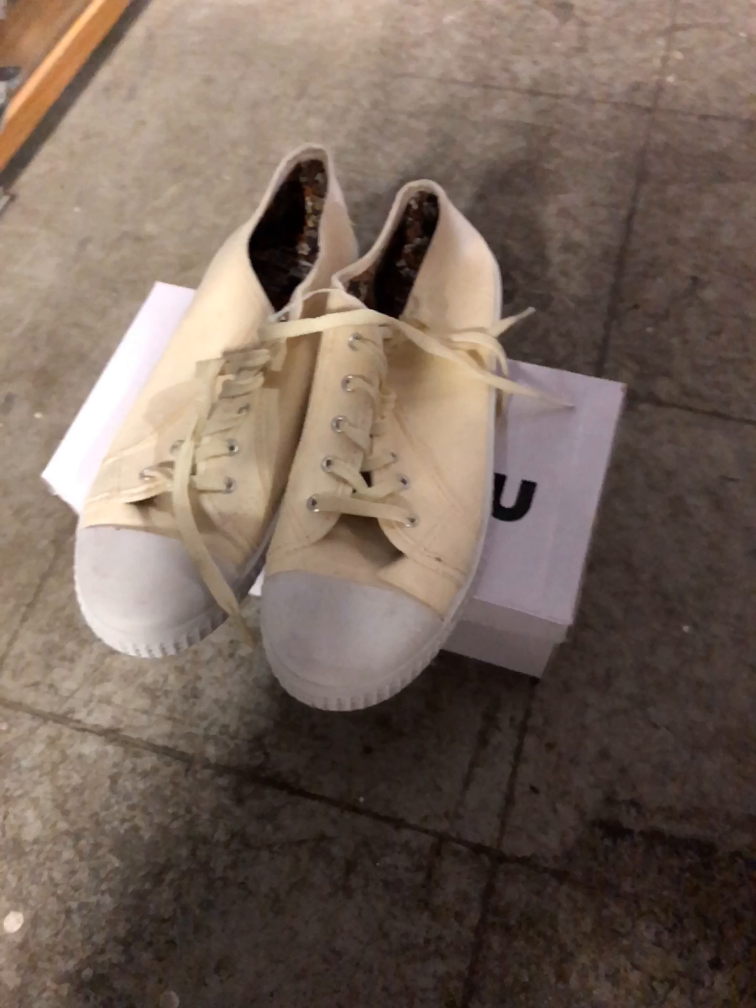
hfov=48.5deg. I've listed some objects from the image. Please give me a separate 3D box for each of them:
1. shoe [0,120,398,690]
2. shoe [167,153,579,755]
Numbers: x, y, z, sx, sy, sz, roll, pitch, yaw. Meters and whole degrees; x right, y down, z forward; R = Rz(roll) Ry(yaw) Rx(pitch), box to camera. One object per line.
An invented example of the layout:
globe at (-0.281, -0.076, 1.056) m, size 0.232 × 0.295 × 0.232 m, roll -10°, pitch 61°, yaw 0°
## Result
shoe at (-0.070, -0.058, 0.400) m, size 0.090 × 0.080 × 0.261 m, roll 13°, pitch 62°, yaw 10°
shoe at (0.012, -0.034, 0.375) m, size 0.100 × 0.080 × 0.251 m, roll 13°, pitch 62°, yaw 10°
